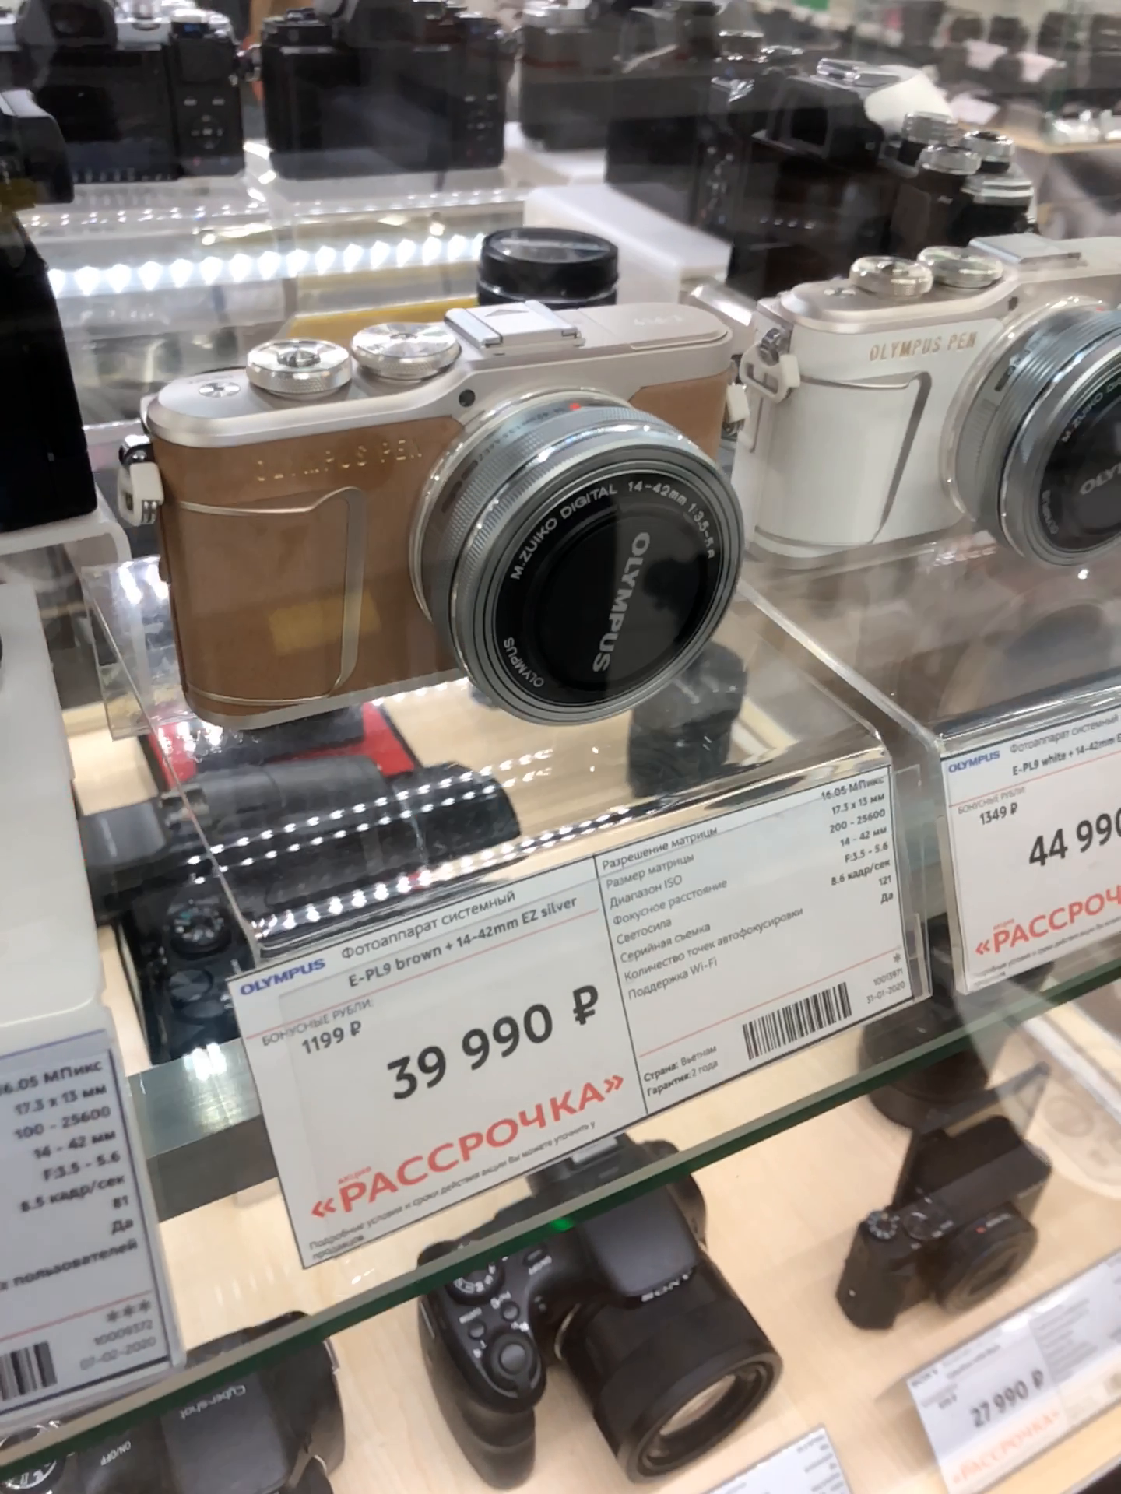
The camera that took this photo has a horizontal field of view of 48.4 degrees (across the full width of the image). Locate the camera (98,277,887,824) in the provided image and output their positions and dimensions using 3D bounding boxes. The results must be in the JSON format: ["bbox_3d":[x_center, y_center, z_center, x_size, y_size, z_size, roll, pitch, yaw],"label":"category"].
[{"bbox_3d":[-0.012,-0.043,0.232,0.122,0.060,0.060,-16,40,-24],"label":"camera"}]

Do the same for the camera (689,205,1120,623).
[{"bbox_3d":[0.100,-0.081,0.286,0.122,0.060,0.060,-16,40,-24],"label":"camera"}]
